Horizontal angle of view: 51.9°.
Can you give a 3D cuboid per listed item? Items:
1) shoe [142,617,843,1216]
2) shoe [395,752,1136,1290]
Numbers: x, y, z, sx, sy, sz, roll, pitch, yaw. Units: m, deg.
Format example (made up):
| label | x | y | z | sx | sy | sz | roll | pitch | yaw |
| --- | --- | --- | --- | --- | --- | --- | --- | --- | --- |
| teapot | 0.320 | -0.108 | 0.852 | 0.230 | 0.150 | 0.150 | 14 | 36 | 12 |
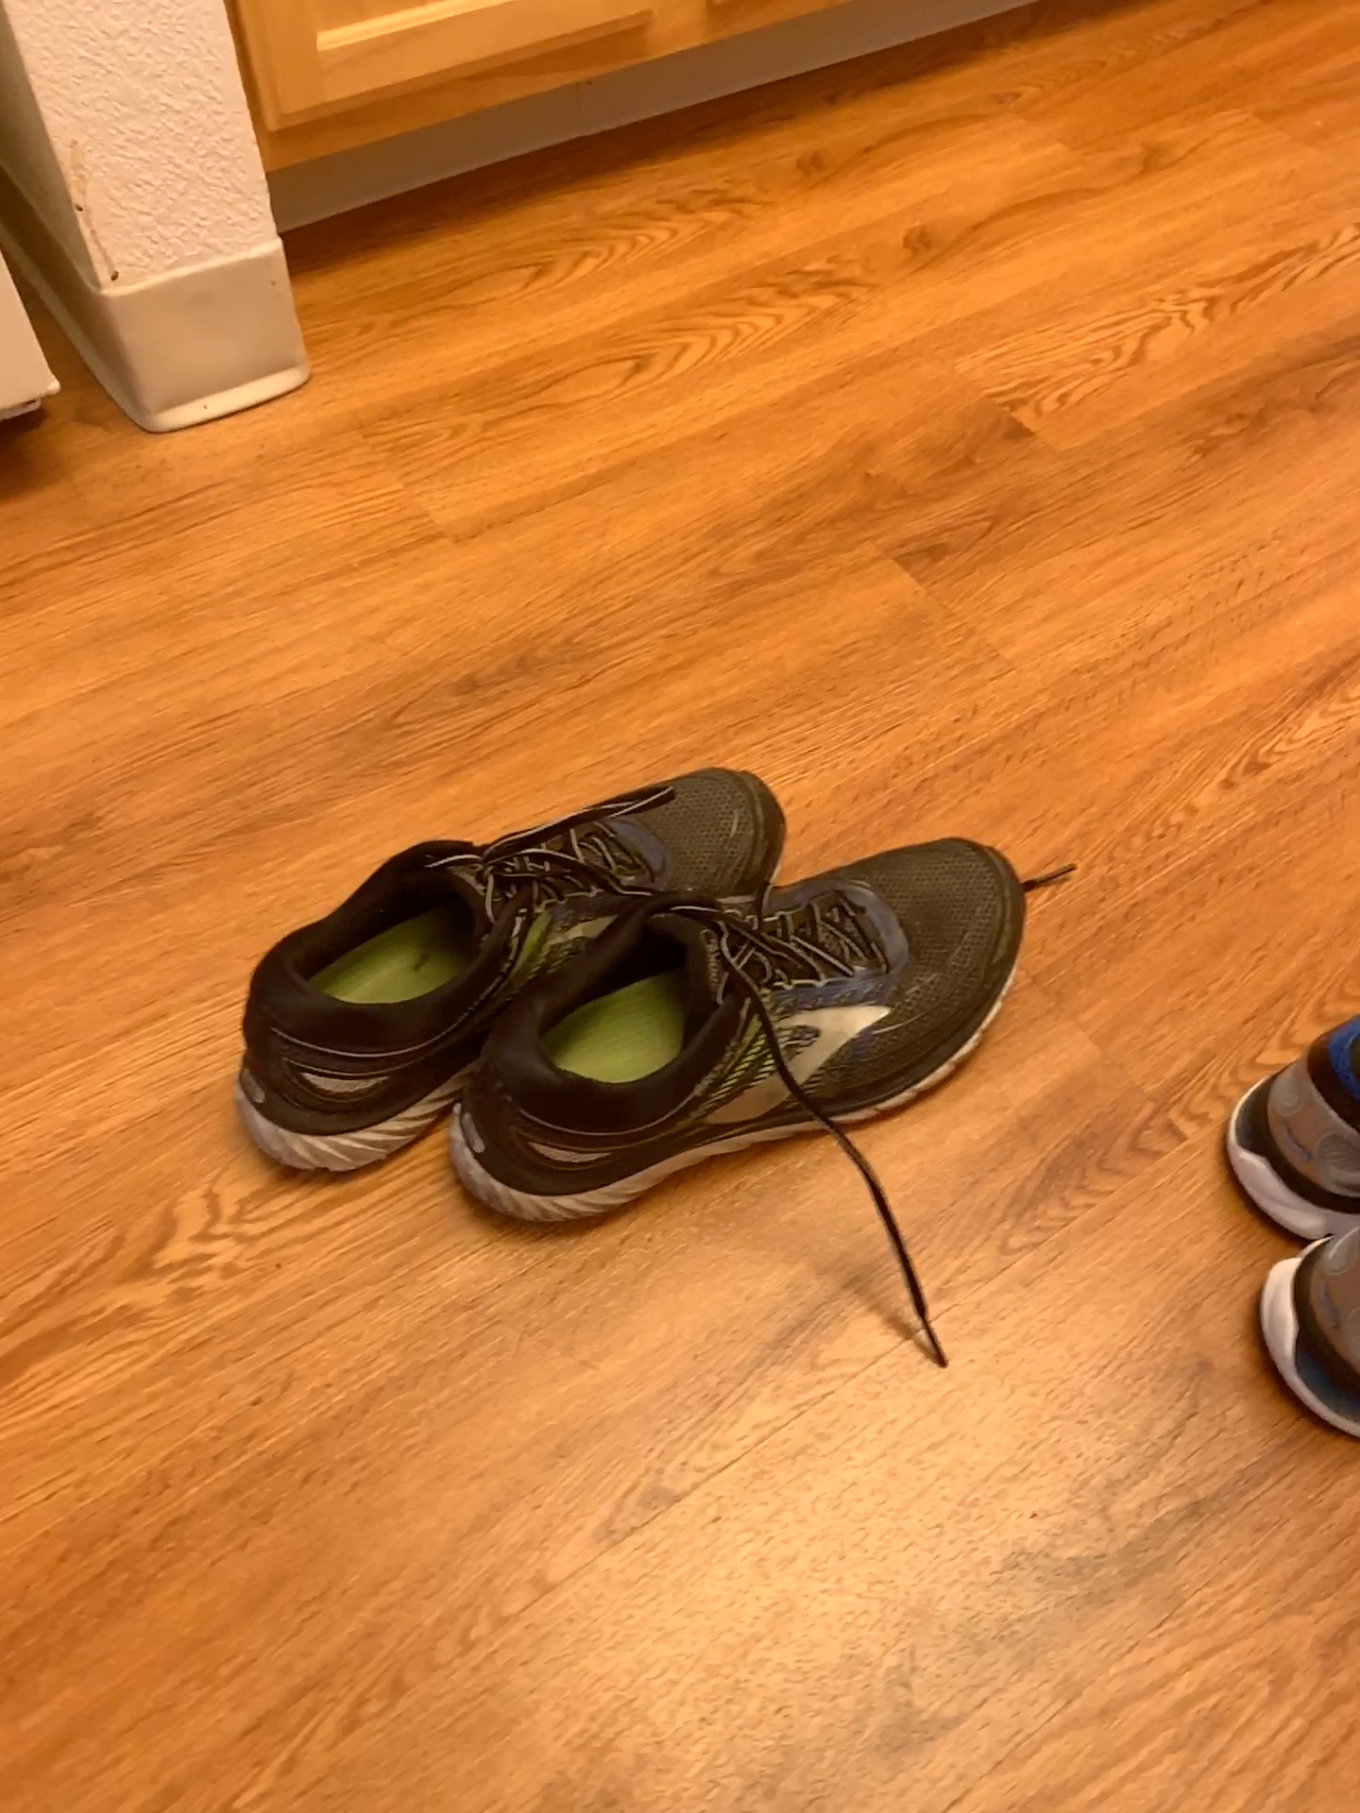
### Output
| label | x | y | z | sx | sy | sz | roll | pitch | yaw |
| --- | --- | --- | --- | --- | --- | --- | --- | --- | --- |
| shoe | -0.076 | -0.002 | 0.675 | 0.310 | 0.119 | 0.100 | -32 | 61 | -22 |
| shoe | 0.040 | 0.050 | 0.655 | 0.310 | 0.119 | 0.100 | -21 | 57 | -15 |
